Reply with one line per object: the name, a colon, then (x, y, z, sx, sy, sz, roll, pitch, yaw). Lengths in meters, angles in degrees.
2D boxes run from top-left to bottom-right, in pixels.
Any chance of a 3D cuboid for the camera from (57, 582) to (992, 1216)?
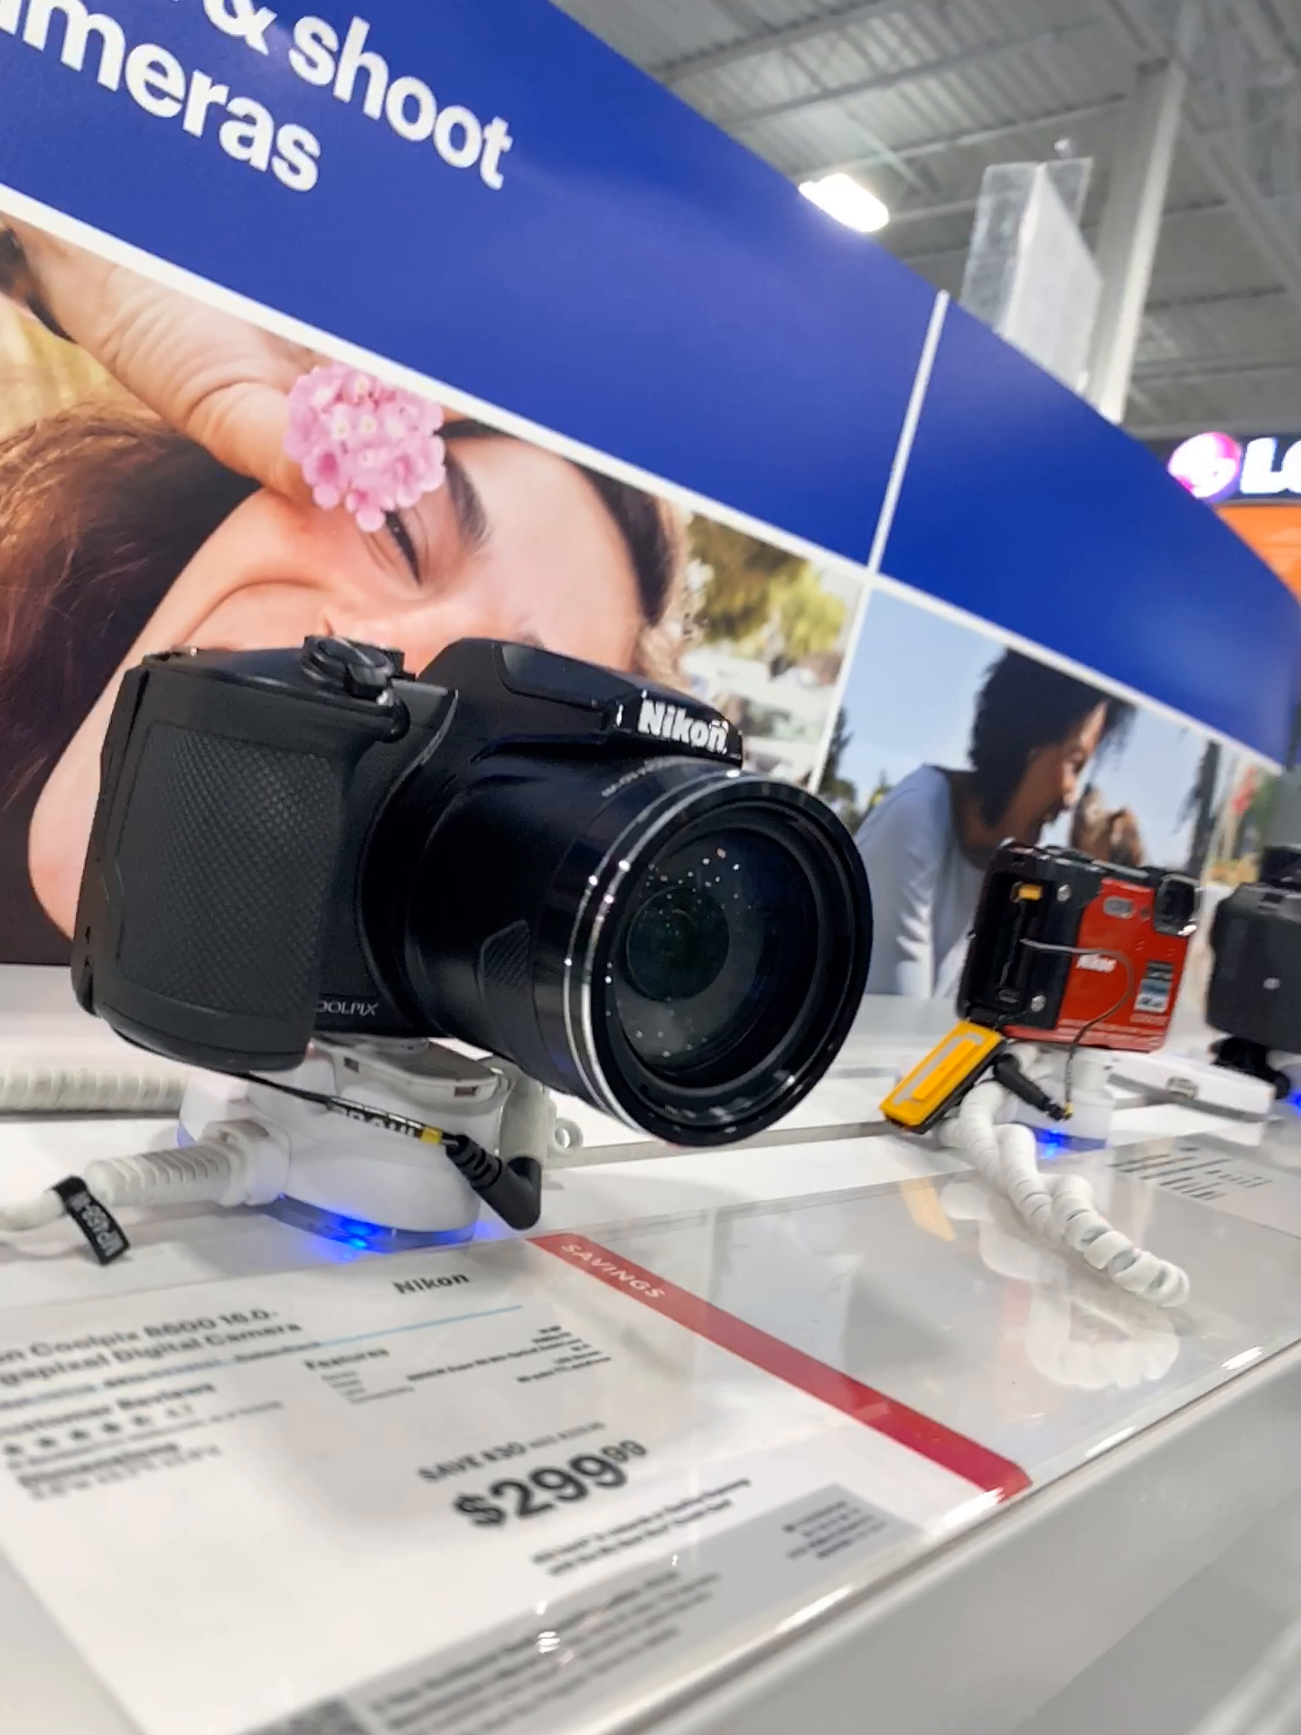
camera: (-0.022, 0.004, 0.245, 0.120, 0.080, 0.100, 10, 2, -42)
